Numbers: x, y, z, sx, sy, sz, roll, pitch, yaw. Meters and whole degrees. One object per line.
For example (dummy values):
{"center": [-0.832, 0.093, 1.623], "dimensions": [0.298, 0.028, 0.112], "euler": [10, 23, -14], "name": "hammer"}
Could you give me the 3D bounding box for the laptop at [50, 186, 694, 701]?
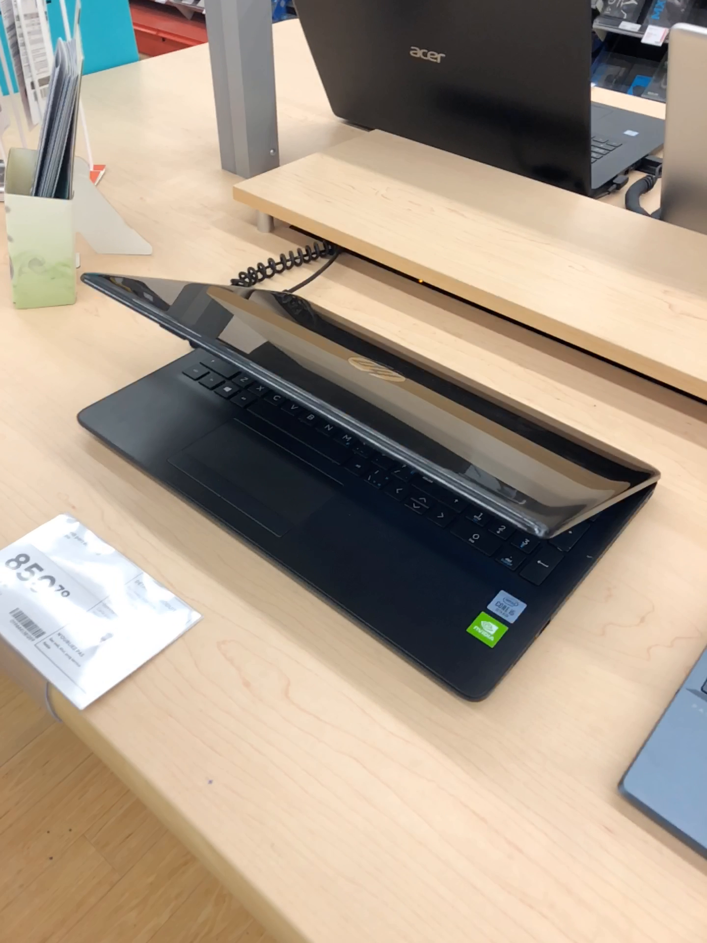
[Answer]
{"center": [0.003, -0.061, 0.552], "dimensions": [0.372, 0.115, 0.239], "euler": [31, 49, 29], "name": "laptop"}
